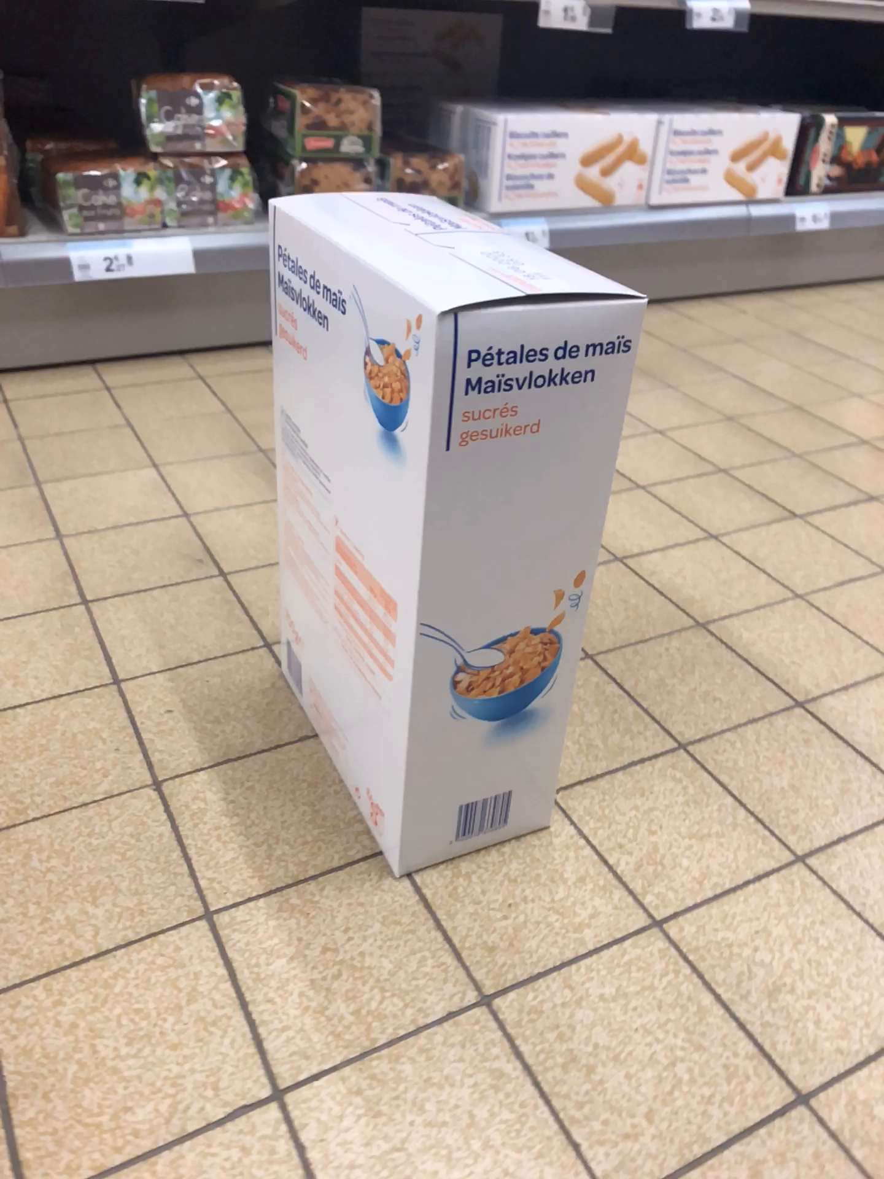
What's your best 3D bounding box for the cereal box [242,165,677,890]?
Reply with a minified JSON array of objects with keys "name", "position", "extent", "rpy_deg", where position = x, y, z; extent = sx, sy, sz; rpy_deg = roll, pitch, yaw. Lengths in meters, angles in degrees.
[{"name":"cereal box","position":[-0.013,-0.039,0.500],"extent":[0.110,0.298,0.201],"rpy_deg":[-12,35,-24]}]
